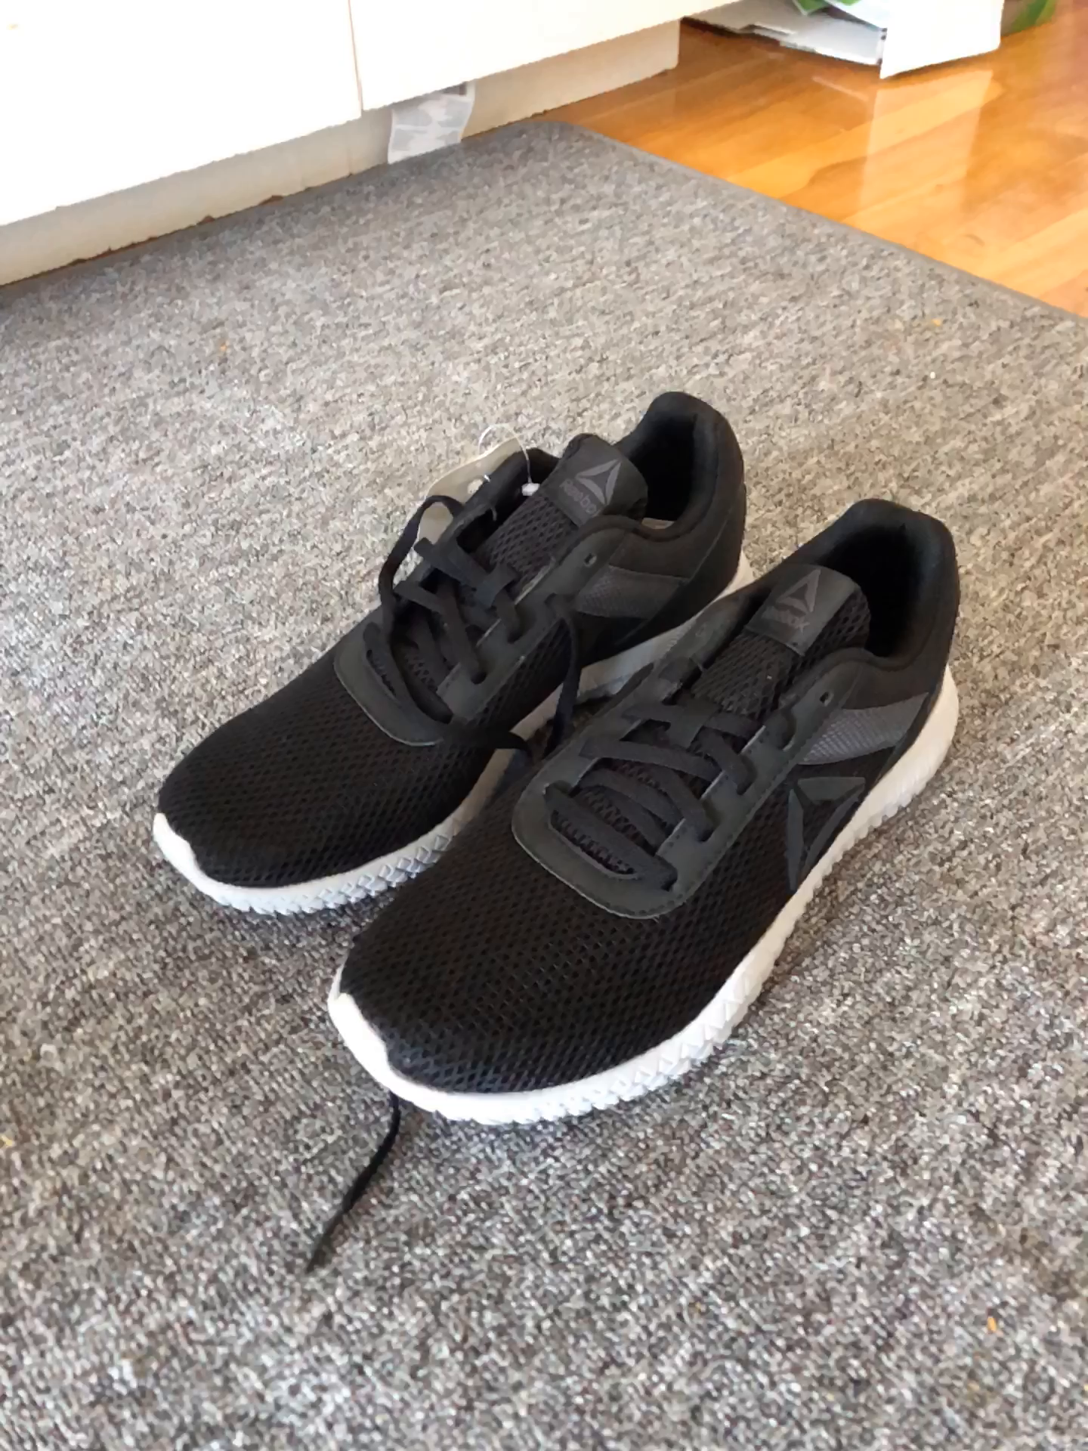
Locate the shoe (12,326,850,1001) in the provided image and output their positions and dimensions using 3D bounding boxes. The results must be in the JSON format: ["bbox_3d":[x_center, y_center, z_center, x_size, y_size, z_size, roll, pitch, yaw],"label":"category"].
[{"bbox_3d":[-0.027,-0.044,0.474,0.301,0.099,0.117,-33,53,-28],"label":"shoe"}]

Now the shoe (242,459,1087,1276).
[{"bbox_3d":[0.059,0.027,0.426,0.301,0.099,0.111,-34,54,-29],"label":"shoe"}]
